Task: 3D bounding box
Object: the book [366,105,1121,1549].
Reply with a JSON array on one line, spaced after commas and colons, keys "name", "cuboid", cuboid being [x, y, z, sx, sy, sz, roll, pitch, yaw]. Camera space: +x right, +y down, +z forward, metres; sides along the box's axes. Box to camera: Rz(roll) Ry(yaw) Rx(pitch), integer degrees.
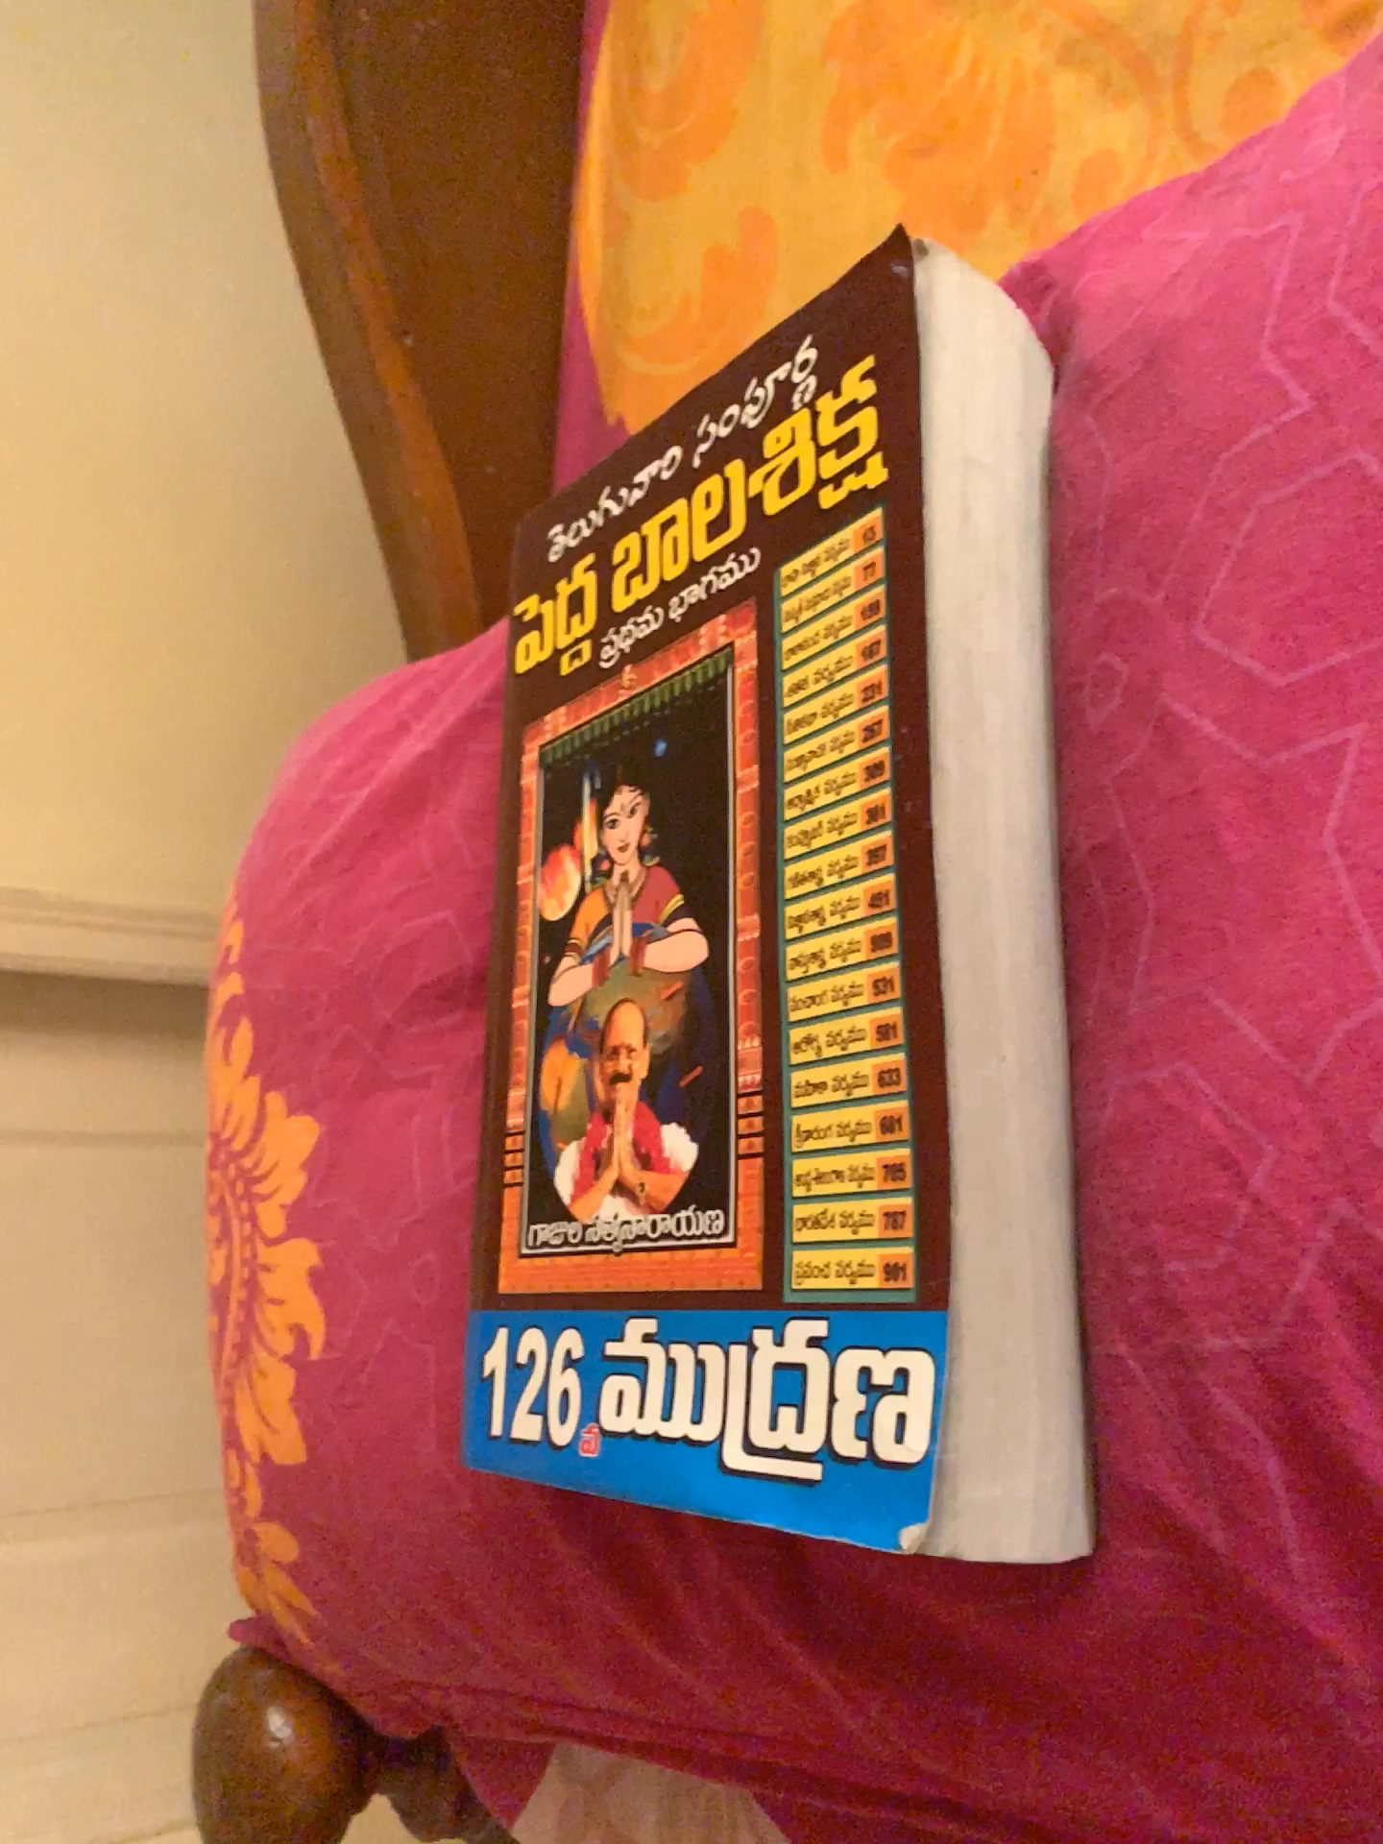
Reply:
[{"name": "book", "cuboid": [0.001, -0.012, 0.327, 0.181, 0.050, 0.260, -18, 65, 50]}]
